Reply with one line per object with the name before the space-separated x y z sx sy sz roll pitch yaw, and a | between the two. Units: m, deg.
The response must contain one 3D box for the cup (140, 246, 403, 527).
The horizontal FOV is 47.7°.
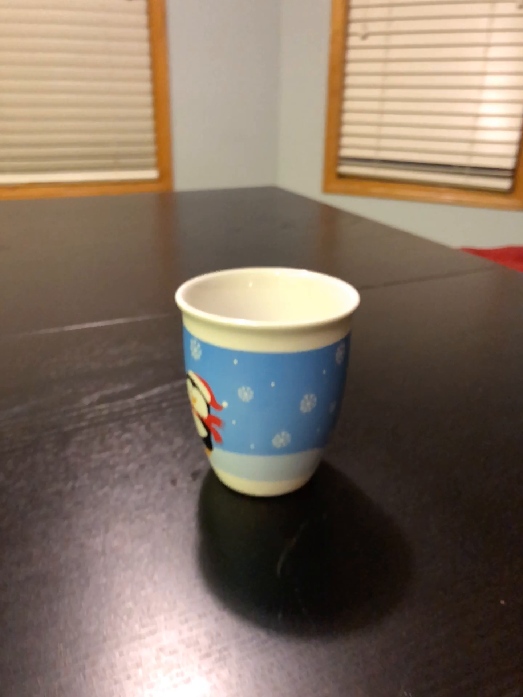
cup | -0.005 0.008 0.346 0.100 0.100 0.141 -8 25 -20
